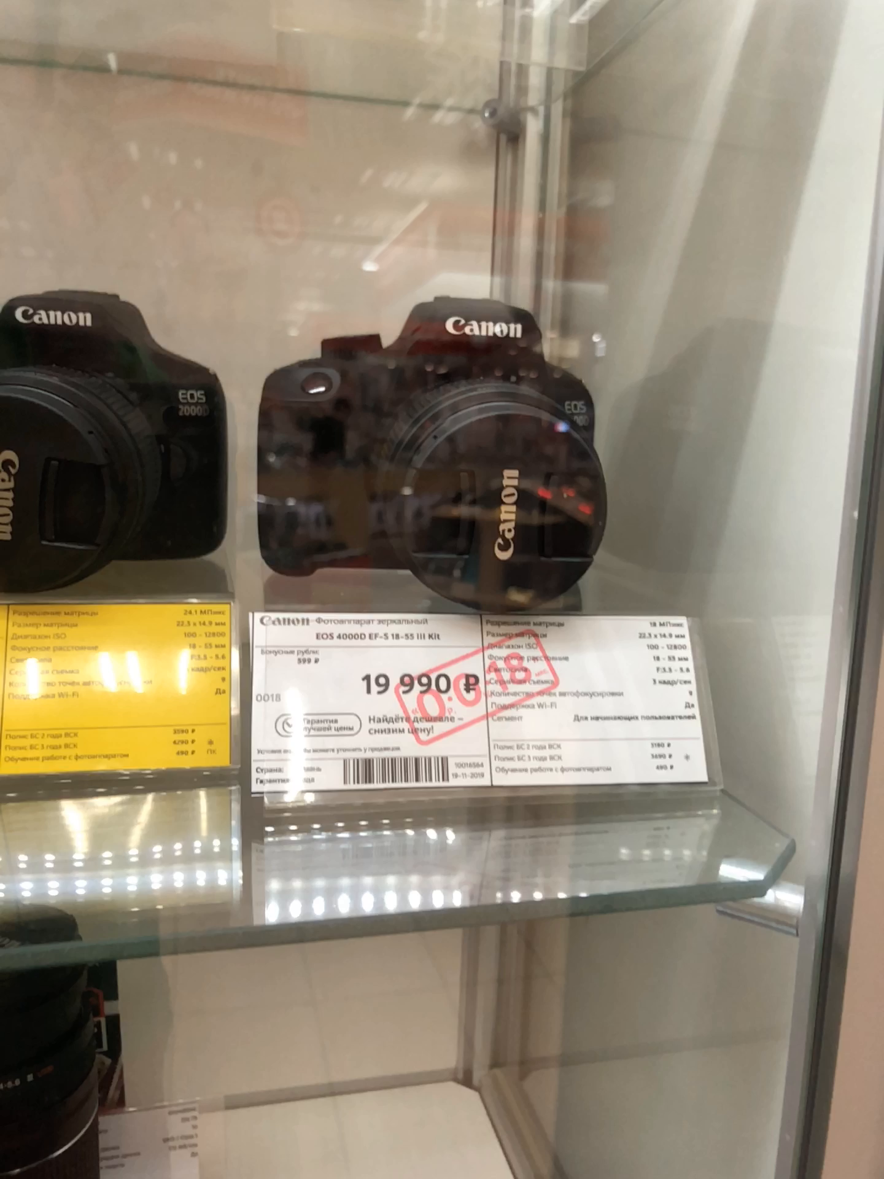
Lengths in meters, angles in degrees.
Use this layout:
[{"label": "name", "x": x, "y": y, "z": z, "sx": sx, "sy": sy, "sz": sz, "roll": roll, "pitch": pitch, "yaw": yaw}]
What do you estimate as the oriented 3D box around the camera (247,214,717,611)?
[{"label": "camera", "x": -0.002, "y": -0.055, "z": 0.335, "sx": 0.125, "sy": 0.100, "sz": 0.147, "roll": 0, "pitch": 9, "yaw": -12}]
